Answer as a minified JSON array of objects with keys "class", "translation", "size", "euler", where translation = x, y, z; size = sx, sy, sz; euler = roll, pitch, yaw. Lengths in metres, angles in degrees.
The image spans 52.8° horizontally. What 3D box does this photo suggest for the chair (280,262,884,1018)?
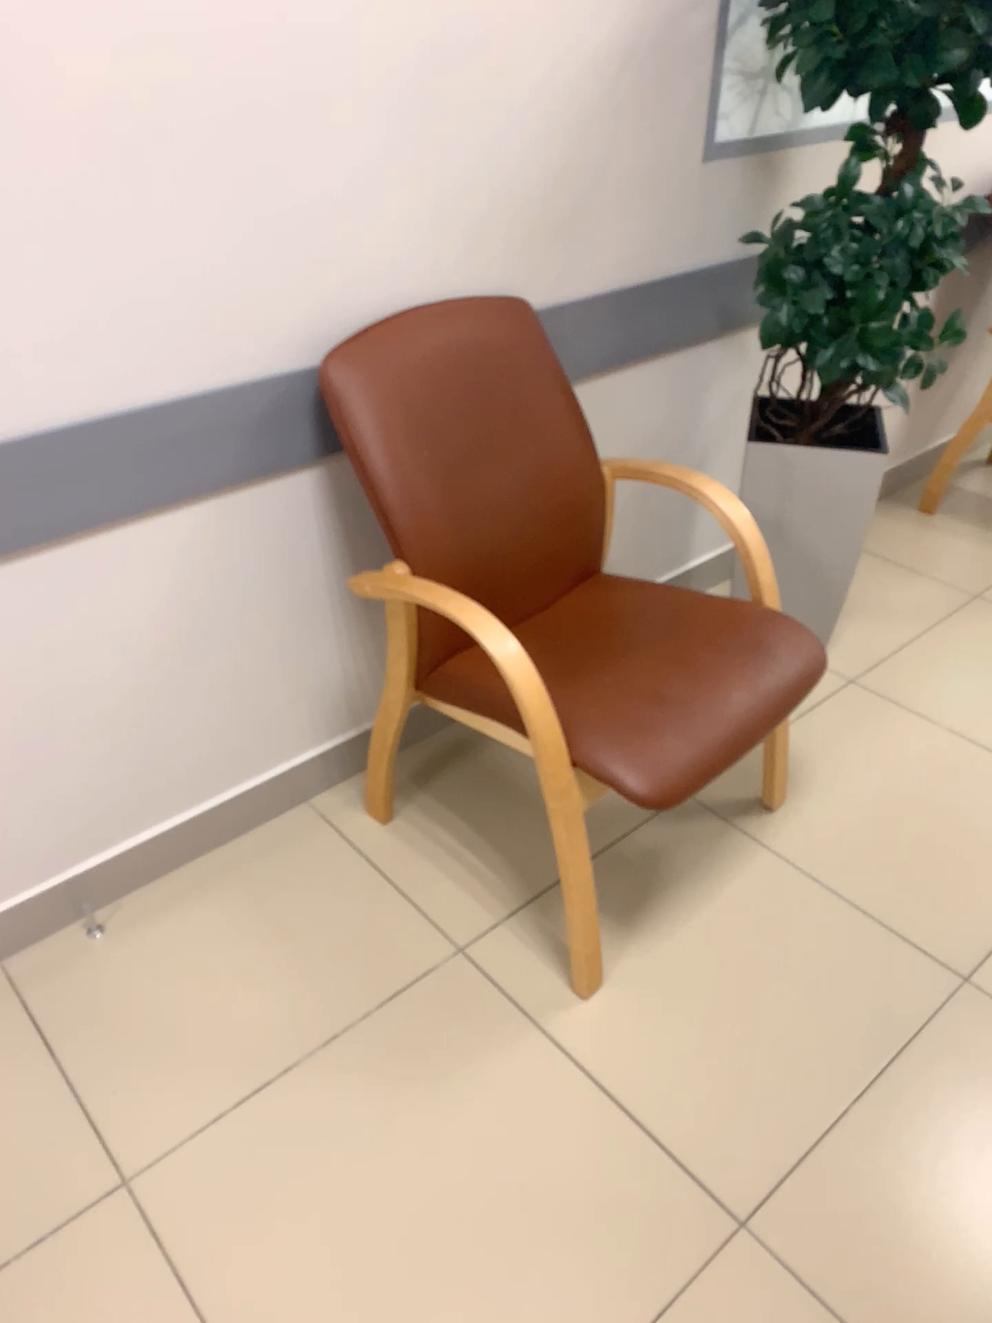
[{"class":"chair","translation":[0.135,-0.074,1.746],"size":[0.601,0.984,0.672],"euler":[28,43,34]}]
